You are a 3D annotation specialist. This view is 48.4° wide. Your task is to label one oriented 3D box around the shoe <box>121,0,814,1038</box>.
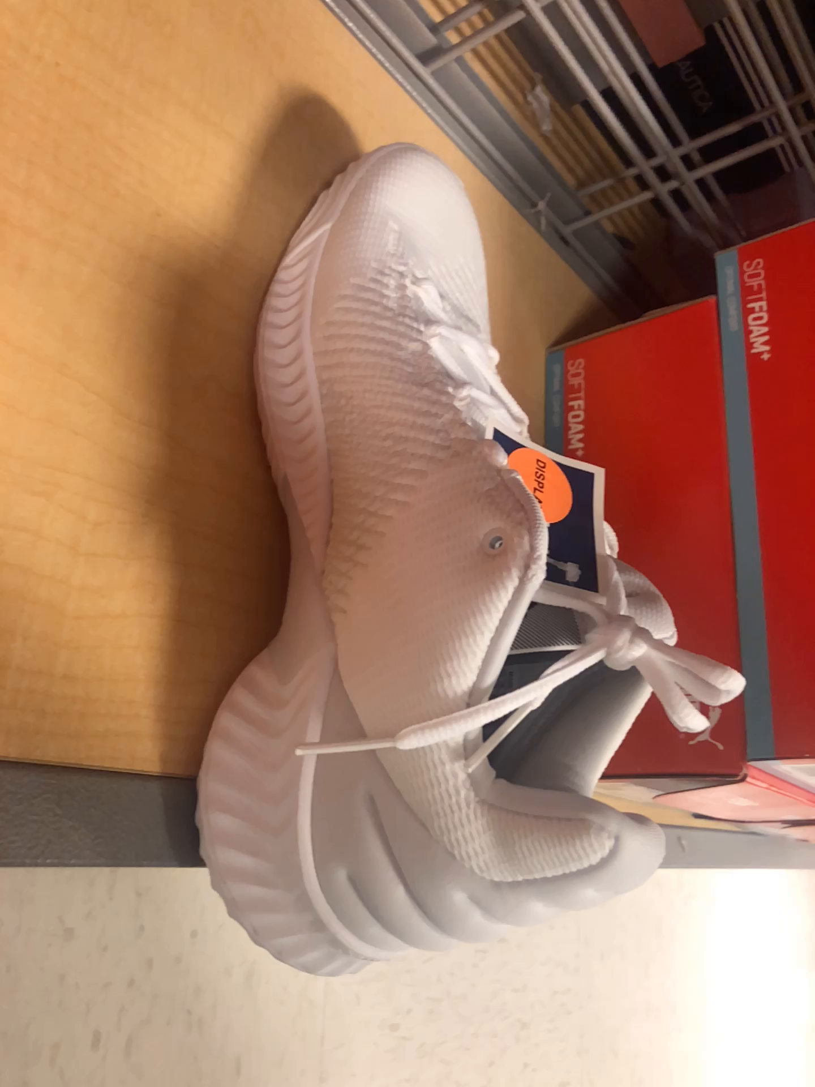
[{"bbox_3d":[0.037,-0.033,0.307,0.121,0.149,0.336,33,55,-45],"label":"shoe"}]
